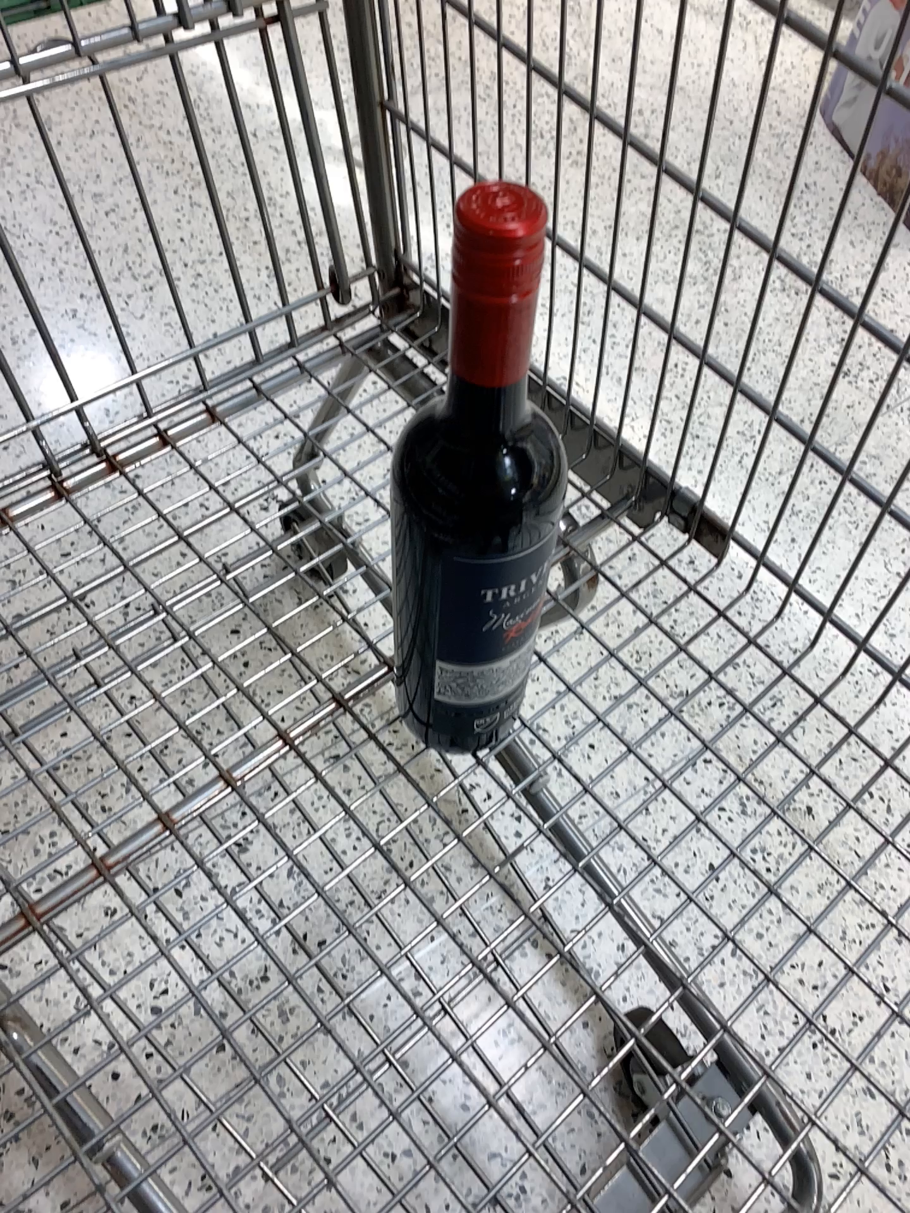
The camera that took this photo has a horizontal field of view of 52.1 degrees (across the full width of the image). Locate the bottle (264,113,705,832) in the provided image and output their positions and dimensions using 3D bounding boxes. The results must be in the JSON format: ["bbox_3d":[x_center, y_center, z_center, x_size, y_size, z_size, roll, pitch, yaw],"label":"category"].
[{"bbox_3d":[-0.004,-0.024,0.434,0.100,0.337,0.101,3,56,-4],"label":"bottle"}]
